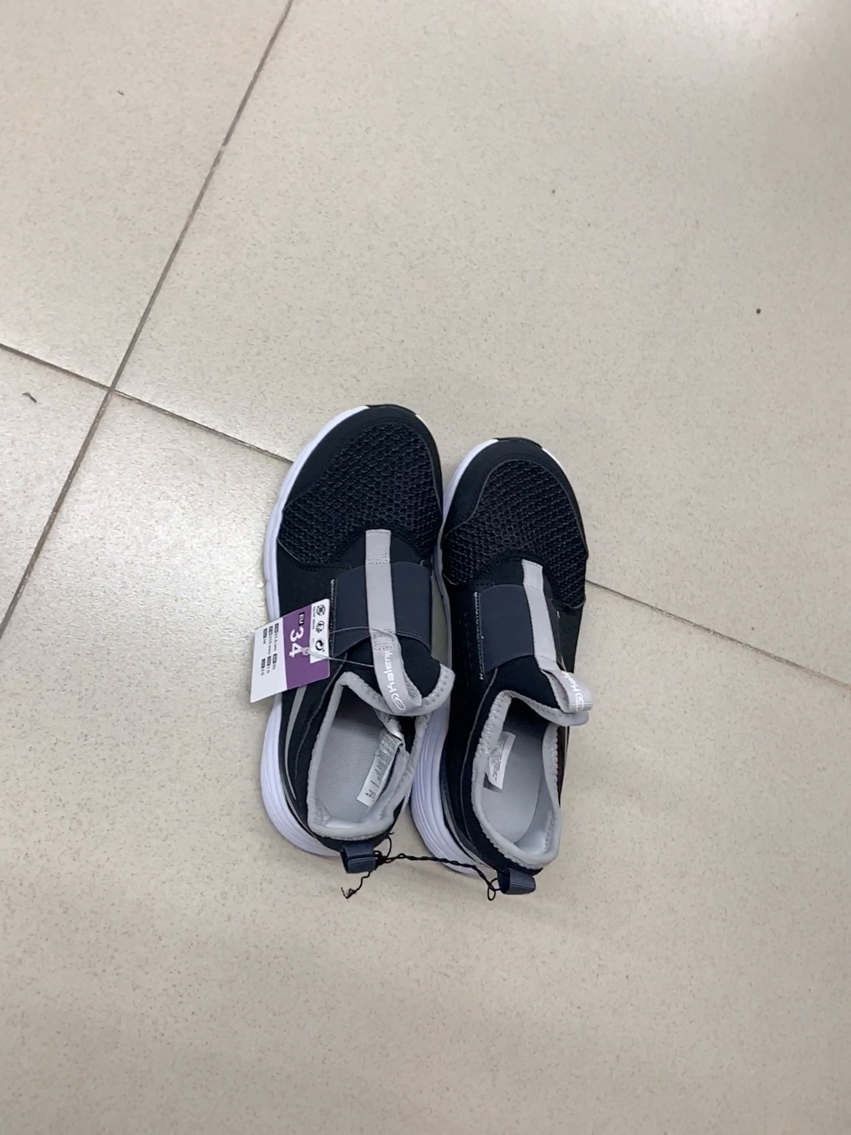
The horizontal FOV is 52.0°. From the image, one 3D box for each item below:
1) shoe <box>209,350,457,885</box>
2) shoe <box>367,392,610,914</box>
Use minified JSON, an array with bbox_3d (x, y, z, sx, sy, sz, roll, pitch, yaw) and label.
[{"bbox_3d":[-0.049,0.026,0.460,0.090,0.080,0.250,8,80,-11],"label":"shoe"},{"bbox_3d":[0.033,0.045,0.473,0.090,0.080,0.250,8,80,-11],"label":"shoe"}]
